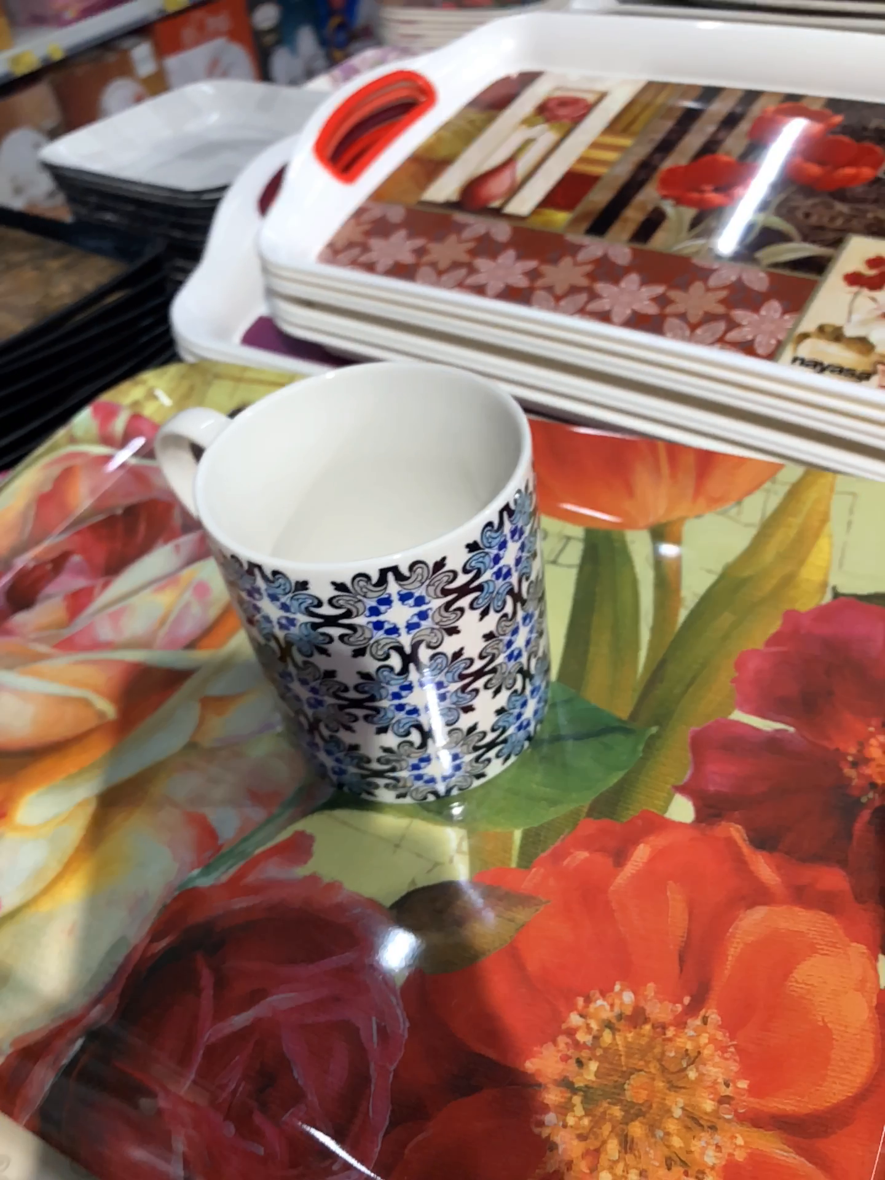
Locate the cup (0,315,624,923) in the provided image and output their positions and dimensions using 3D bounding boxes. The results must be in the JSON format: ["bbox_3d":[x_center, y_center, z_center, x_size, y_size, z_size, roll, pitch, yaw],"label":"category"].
[{"bbox_3d":[-0.030,0.002,0.274,0.130,0.099,0.090,19,49,25],"label":"cup"}]
